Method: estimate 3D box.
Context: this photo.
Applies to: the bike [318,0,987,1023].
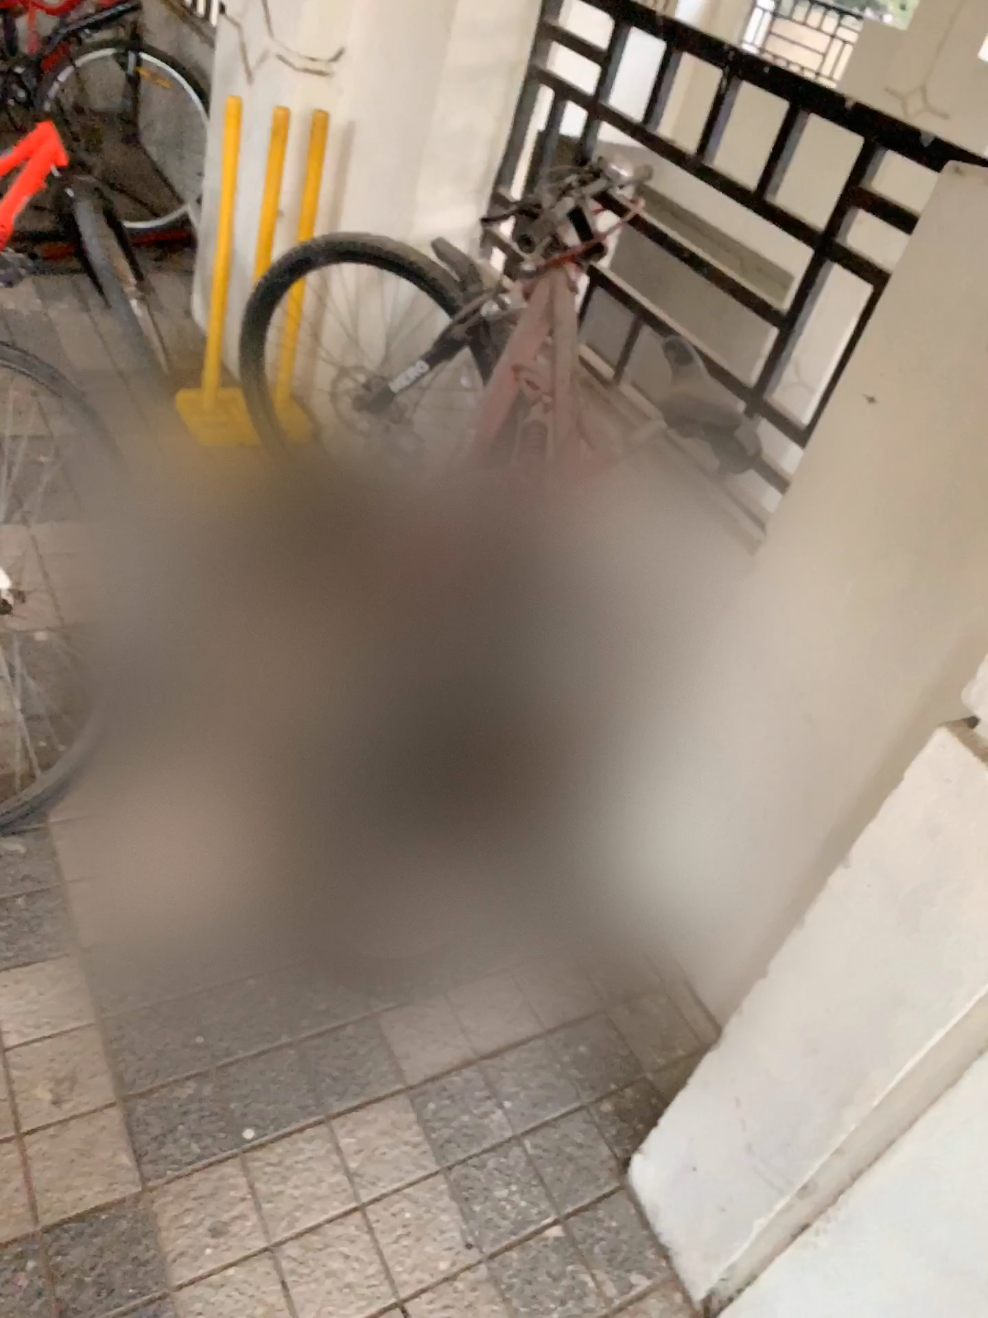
[{"bbox_3d":[0.183,-0.394,1.686,0.609,0.831,1.469,0,48,-24],"label":"bike"}]
